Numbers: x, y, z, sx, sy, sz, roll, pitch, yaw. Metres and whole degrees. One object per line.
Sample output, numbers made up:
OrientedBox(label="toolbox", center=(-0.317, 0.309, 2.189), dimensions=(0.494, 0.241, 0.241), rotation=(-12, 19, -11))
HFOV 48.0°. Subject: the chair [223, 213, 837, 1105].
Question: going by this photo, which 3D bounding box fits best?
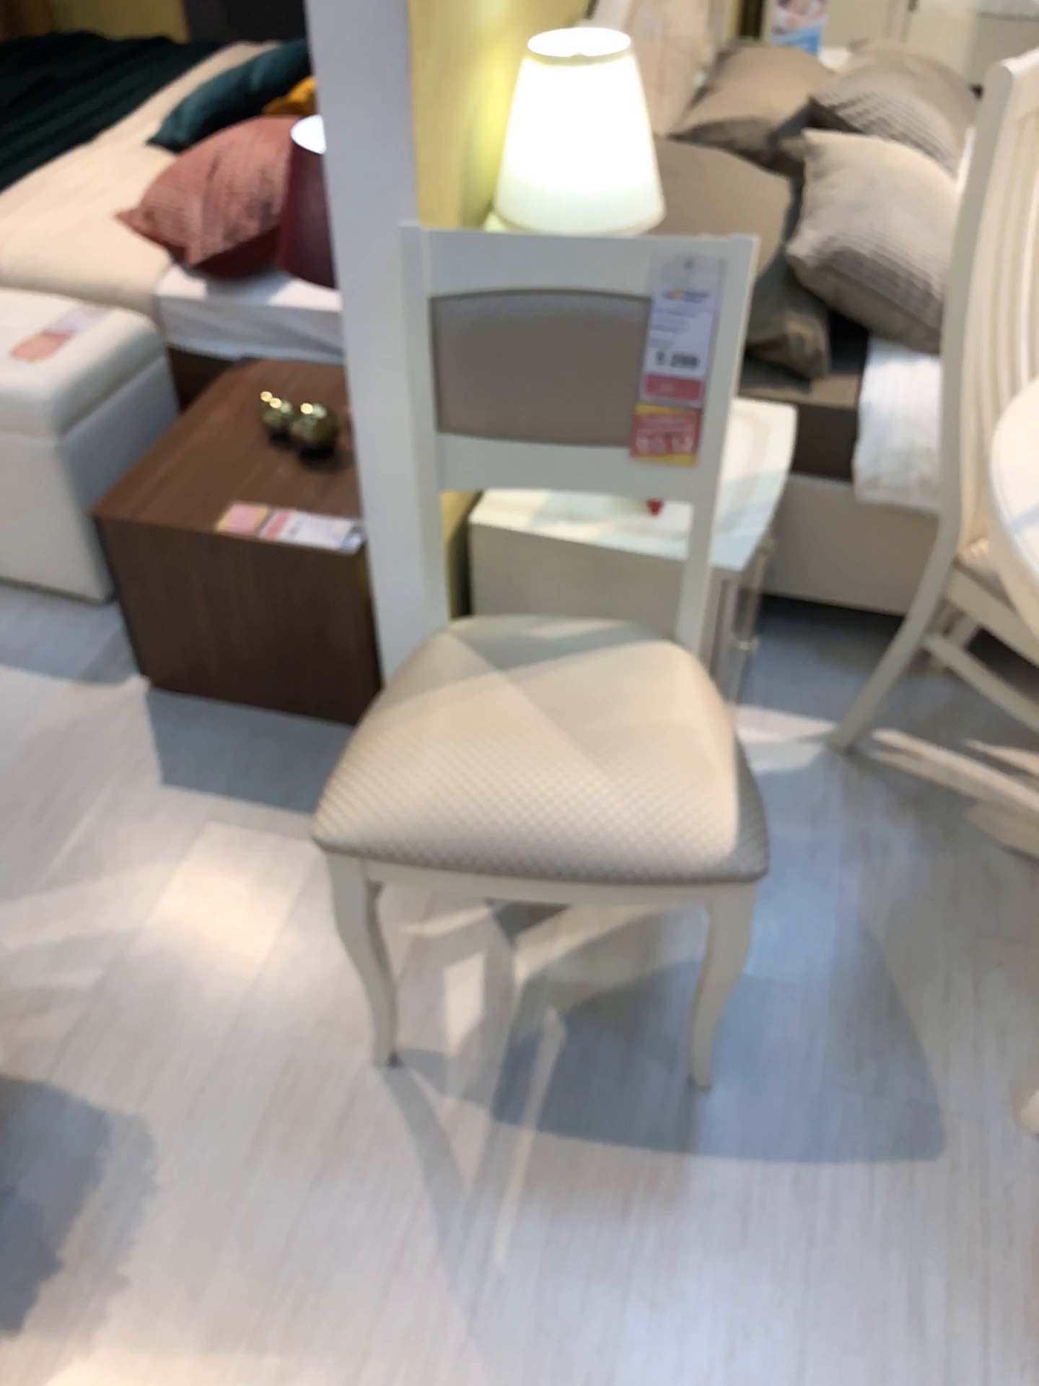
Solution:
OrientedBox(label="chair", center=(0.028, 0.006, 1.379), dimensions=(0.470, 0.946, 0.474), rotation=(3, 42, 4))
